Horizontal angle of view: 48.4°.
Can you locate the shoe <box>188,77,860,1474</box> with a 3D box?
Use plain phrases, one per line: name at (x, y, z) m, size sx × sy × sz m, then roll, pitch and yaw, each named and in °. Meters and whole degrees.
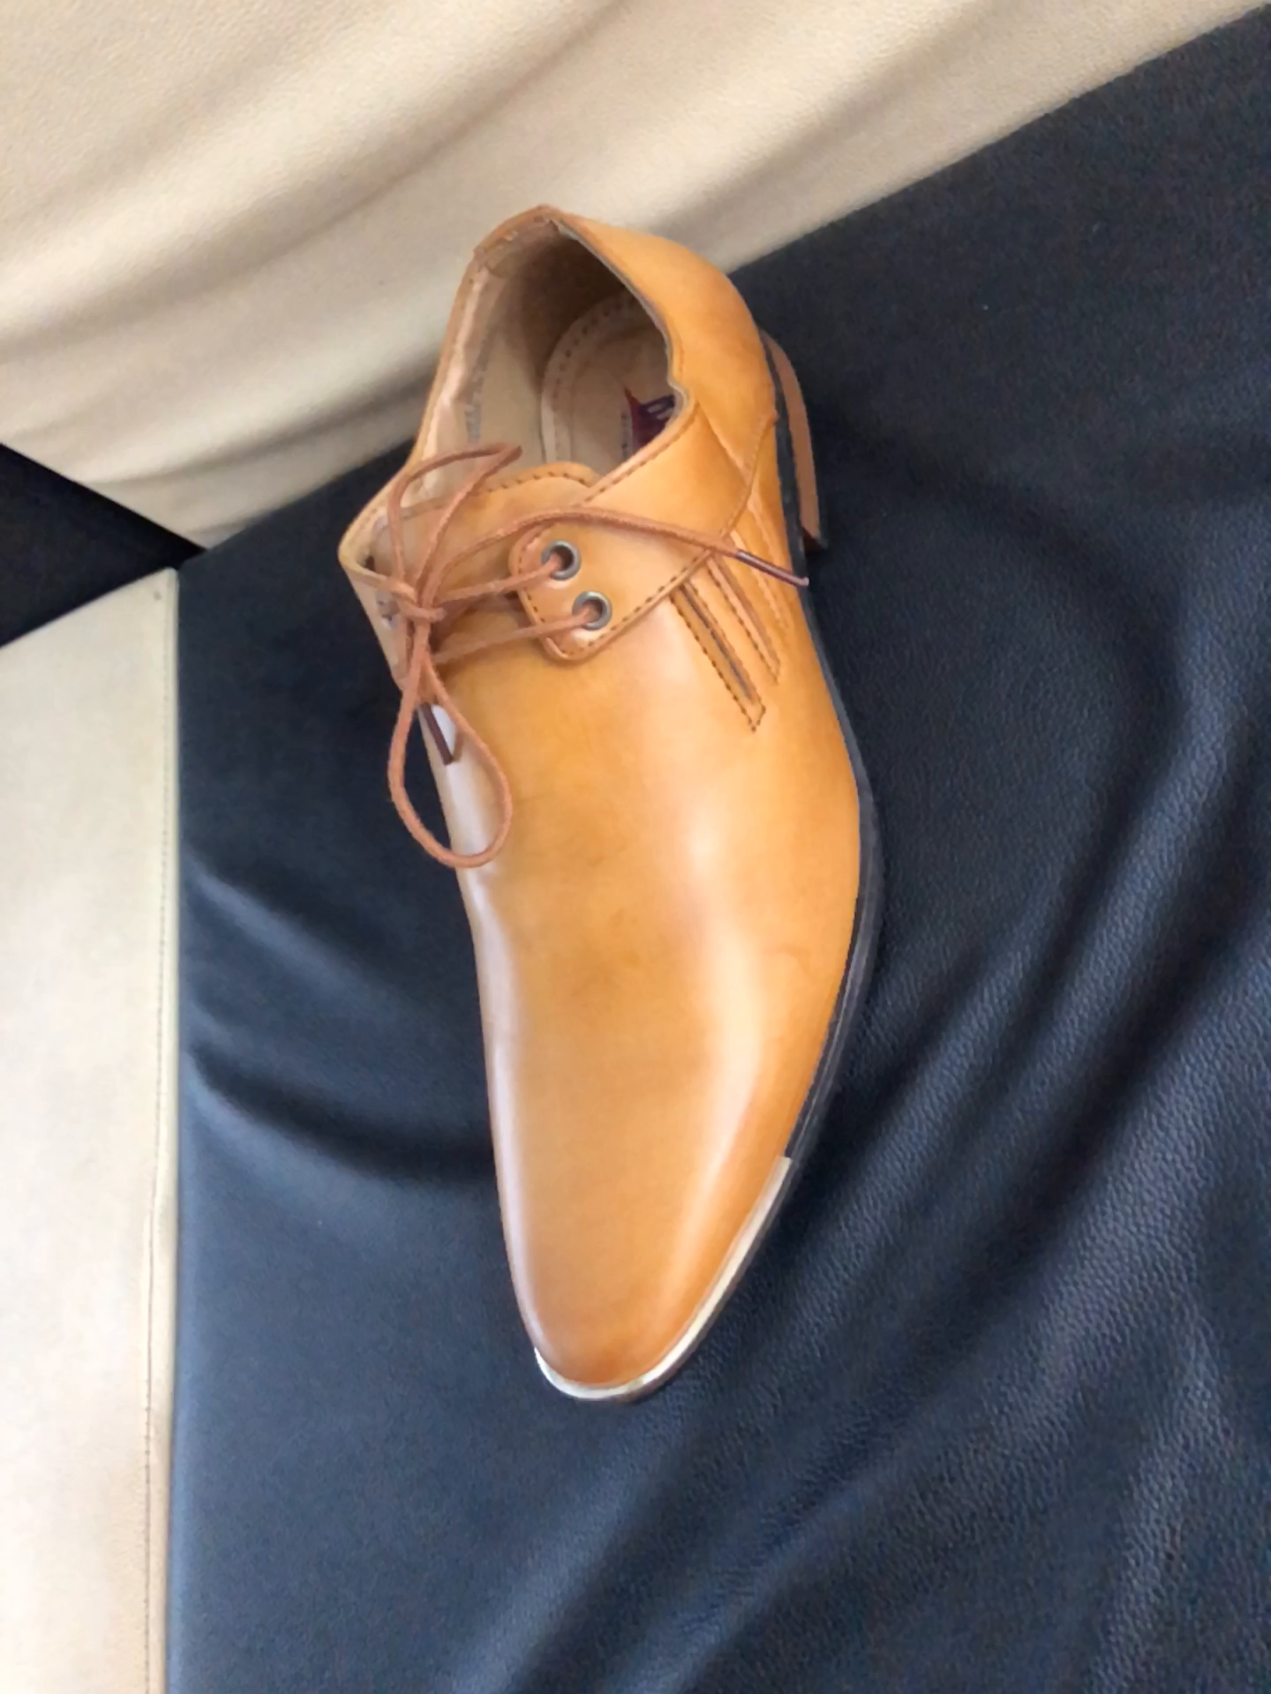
shoe at (-0.017, -0.015, 0.321) m, size 0.110 × 0.080 × 0.270 m, roll -7°, pitch 73°, yaw 31°
